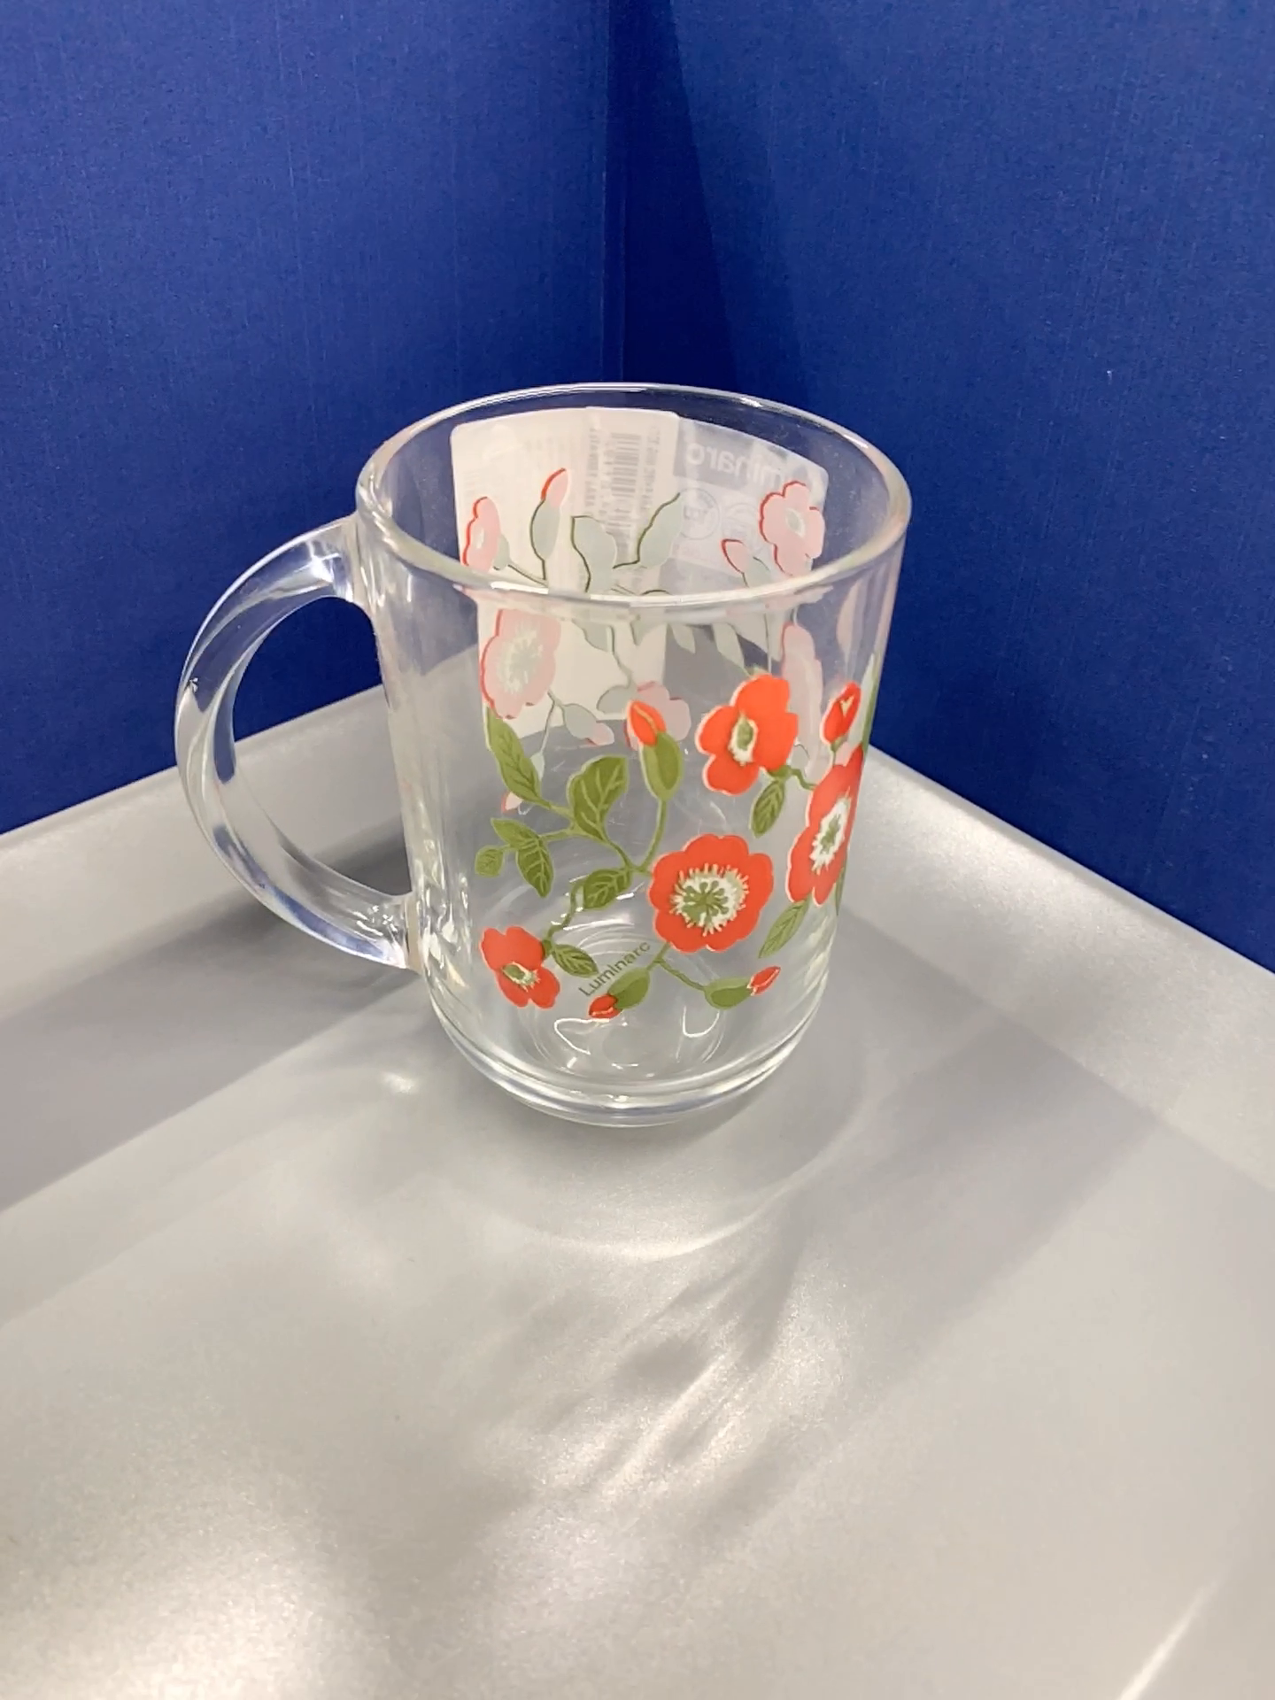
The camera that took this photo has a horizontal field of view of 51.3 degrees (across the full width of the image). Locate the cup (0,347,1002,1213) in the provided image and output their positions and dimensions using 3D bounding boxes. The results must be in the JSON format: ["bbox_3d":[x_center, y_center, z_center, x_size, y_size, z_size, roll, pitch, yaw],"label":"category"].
[{"bbox_3d":[-0.021,-0.014,0.213,0.114,0.104,0.088,-1,36,-6],"label":"cup"}]
